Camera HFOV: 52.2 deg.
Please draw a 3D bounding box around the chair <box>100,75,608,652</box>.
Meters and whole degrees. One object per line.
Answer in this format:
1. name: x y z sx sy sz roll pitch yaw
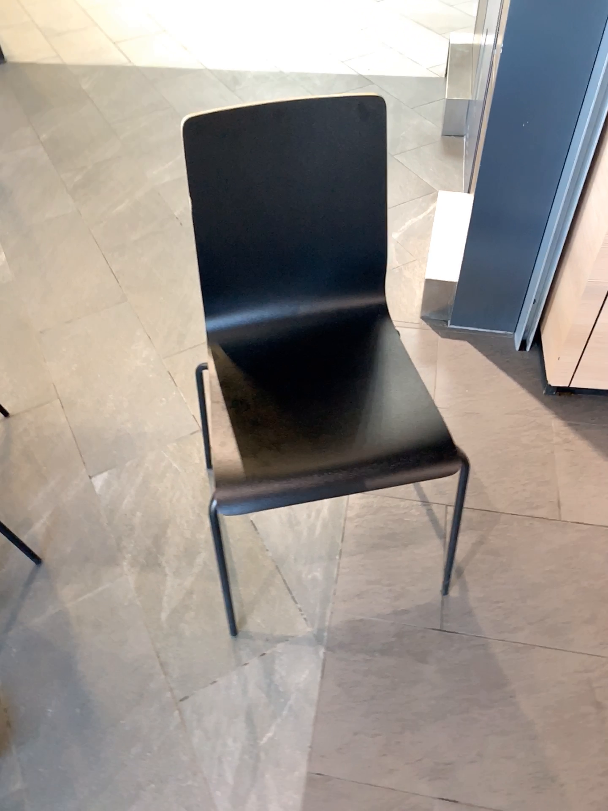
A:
1. chair: 0.033 -0.013 1.102 0.520 0.837 0.522 -8 50 -5
